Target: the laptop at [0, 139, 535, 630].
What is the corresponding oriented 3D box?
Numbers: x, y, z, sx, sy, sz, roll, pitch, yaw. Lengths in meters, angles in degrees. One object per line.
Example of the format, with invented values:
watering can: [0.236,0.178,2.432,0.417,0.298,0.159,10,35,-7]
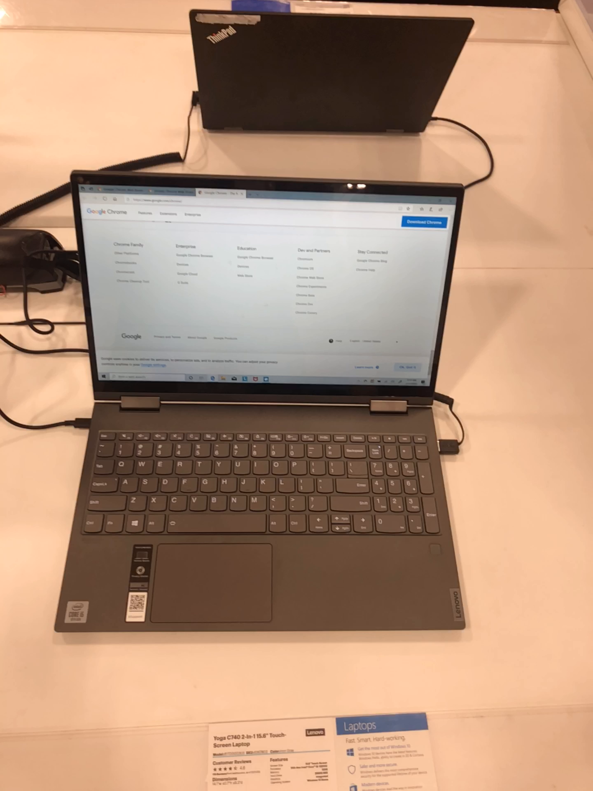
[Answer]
laptop: [-0.027,-0.008,0.577,0.352,0.179,0.365,1,62,-4]
